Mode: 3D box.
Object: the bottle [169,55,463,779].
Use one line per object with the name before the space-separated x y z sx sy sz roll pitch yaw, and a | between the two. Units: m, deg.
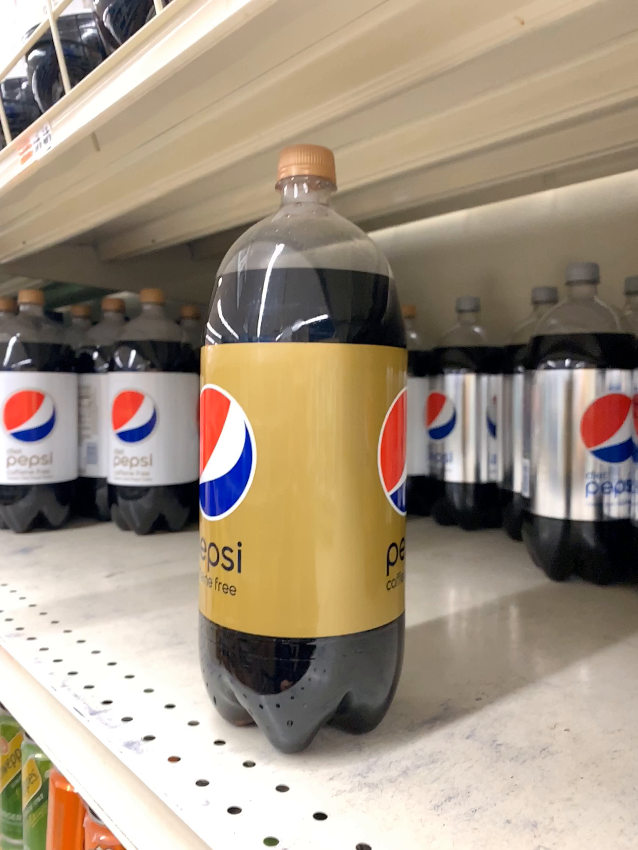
bottle | -0.005 -0.004 0.350 0.110 0.300 0.110 0 2 0
